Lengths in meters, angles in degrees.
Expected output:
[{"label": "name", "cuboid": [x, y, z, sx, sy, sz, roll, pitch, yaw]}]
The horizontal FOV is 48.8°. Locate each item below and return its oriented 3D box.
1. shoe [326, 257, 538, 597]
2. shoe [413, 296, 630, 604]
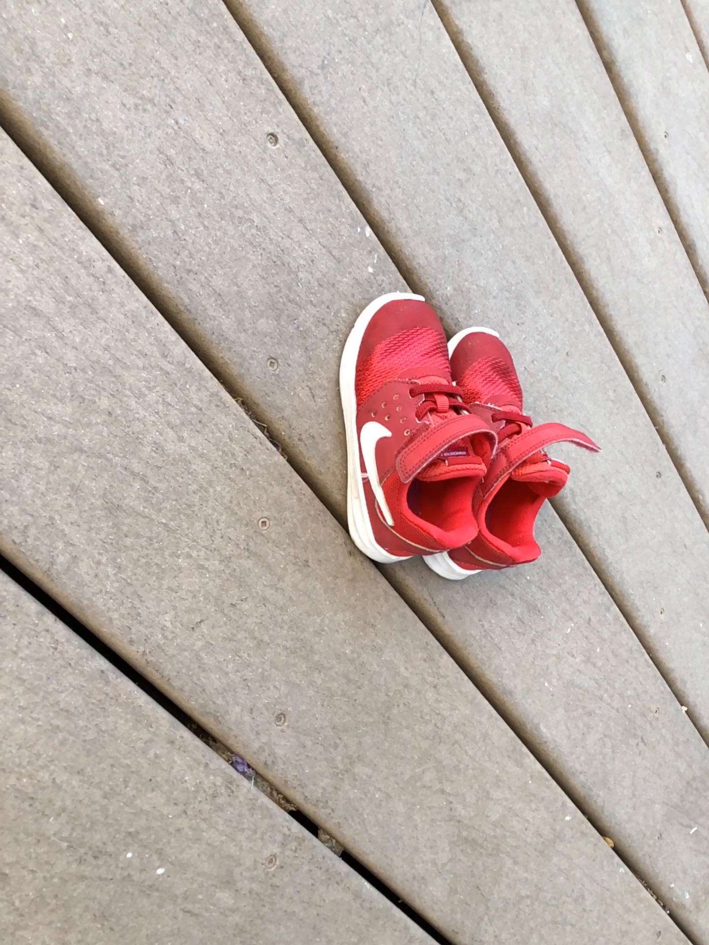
[{"label": "shoe", "cuboid": [0.042, -0.022, 0.443, 0.078, 0.087, 0.167, 1, 90, -38]}, {"label": "shoe", "cuboid": [0.102, -0.010, 0.480, 0.078, 0.087, 0.167, 9, 86, -38]}]
